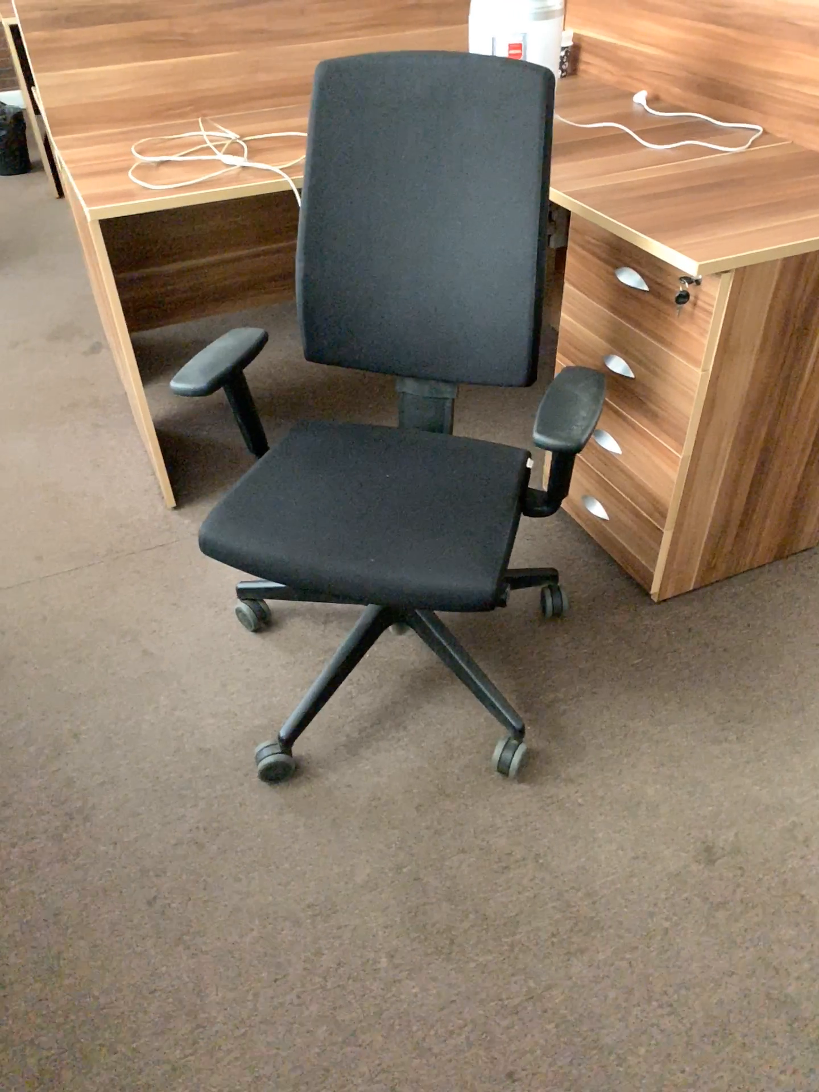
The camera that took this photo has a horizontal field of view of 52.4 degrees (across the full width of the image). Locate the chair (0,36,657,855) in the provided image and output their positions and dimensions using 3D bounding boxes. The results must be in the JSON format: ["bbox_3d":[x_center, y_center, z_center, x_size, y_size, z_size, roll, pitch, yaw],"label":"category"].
[{"bbox_3d":[-0.058,-0.198,1.305,0.670,0.915,0.794,10,41,14],"label":"chair"}]
